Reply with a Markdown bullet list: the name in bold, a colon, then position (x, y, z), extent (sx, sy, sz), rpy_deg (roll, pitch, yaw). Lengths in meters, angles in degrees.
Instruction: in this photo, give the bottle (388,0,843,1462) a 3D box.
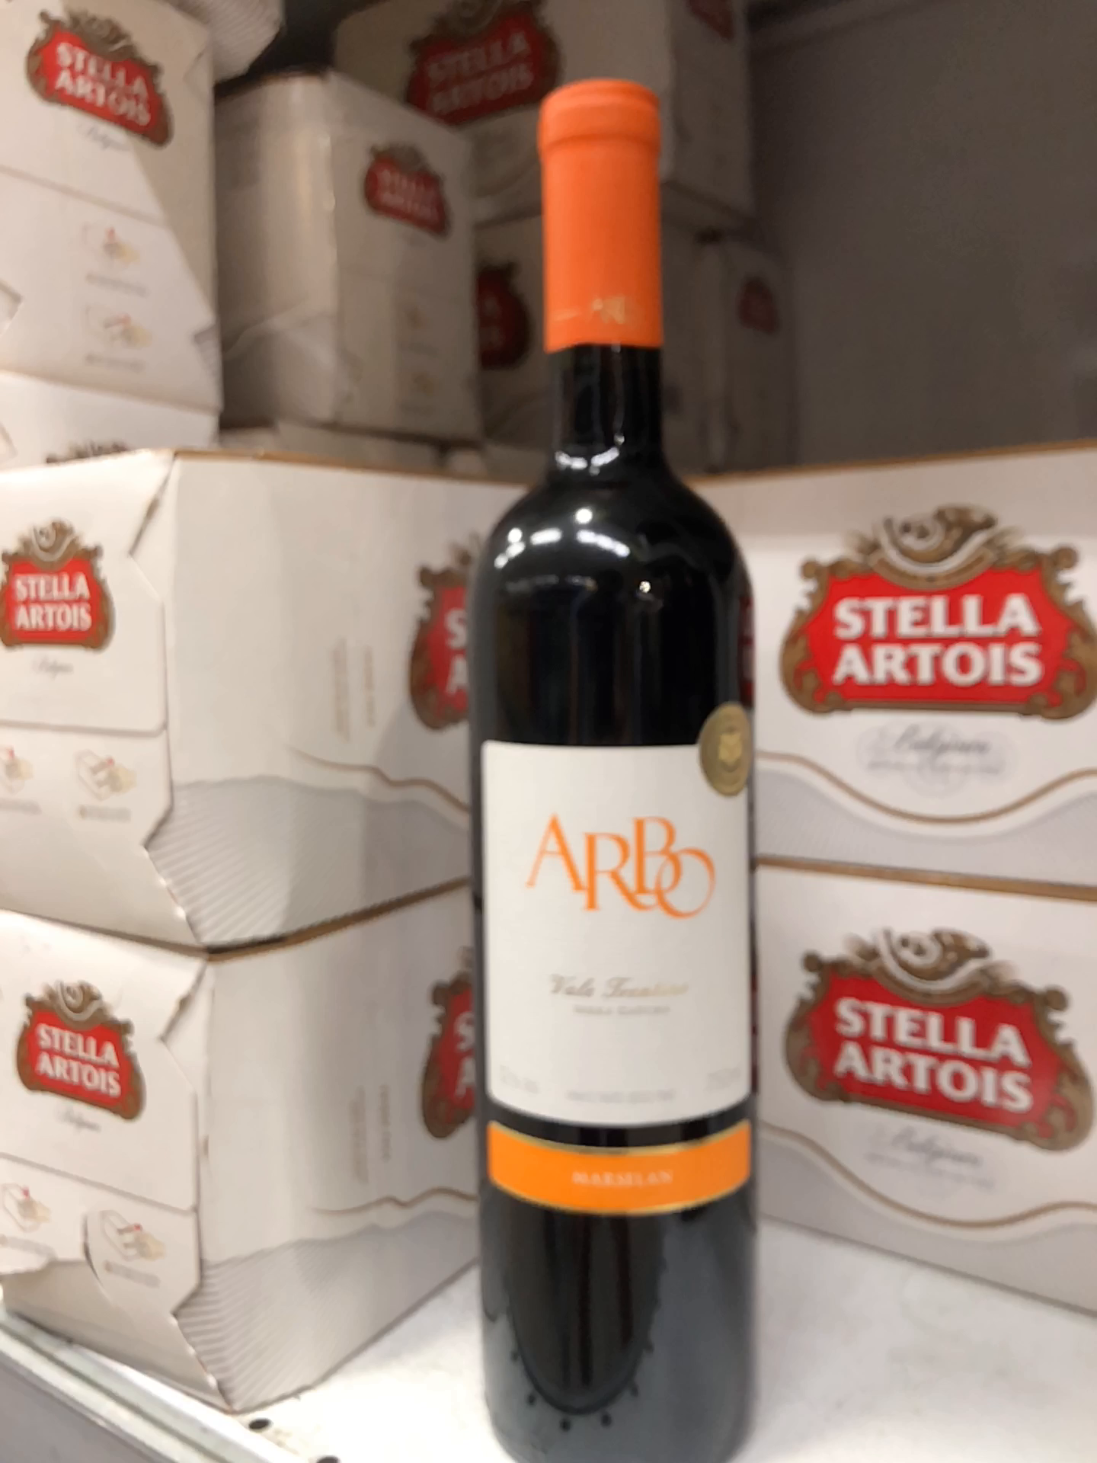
- **bottle**: position (0.016, 0.009, 0.282), extent (0.080, 0.309, 0.070), rpy_deg (-2, 7, -1)
